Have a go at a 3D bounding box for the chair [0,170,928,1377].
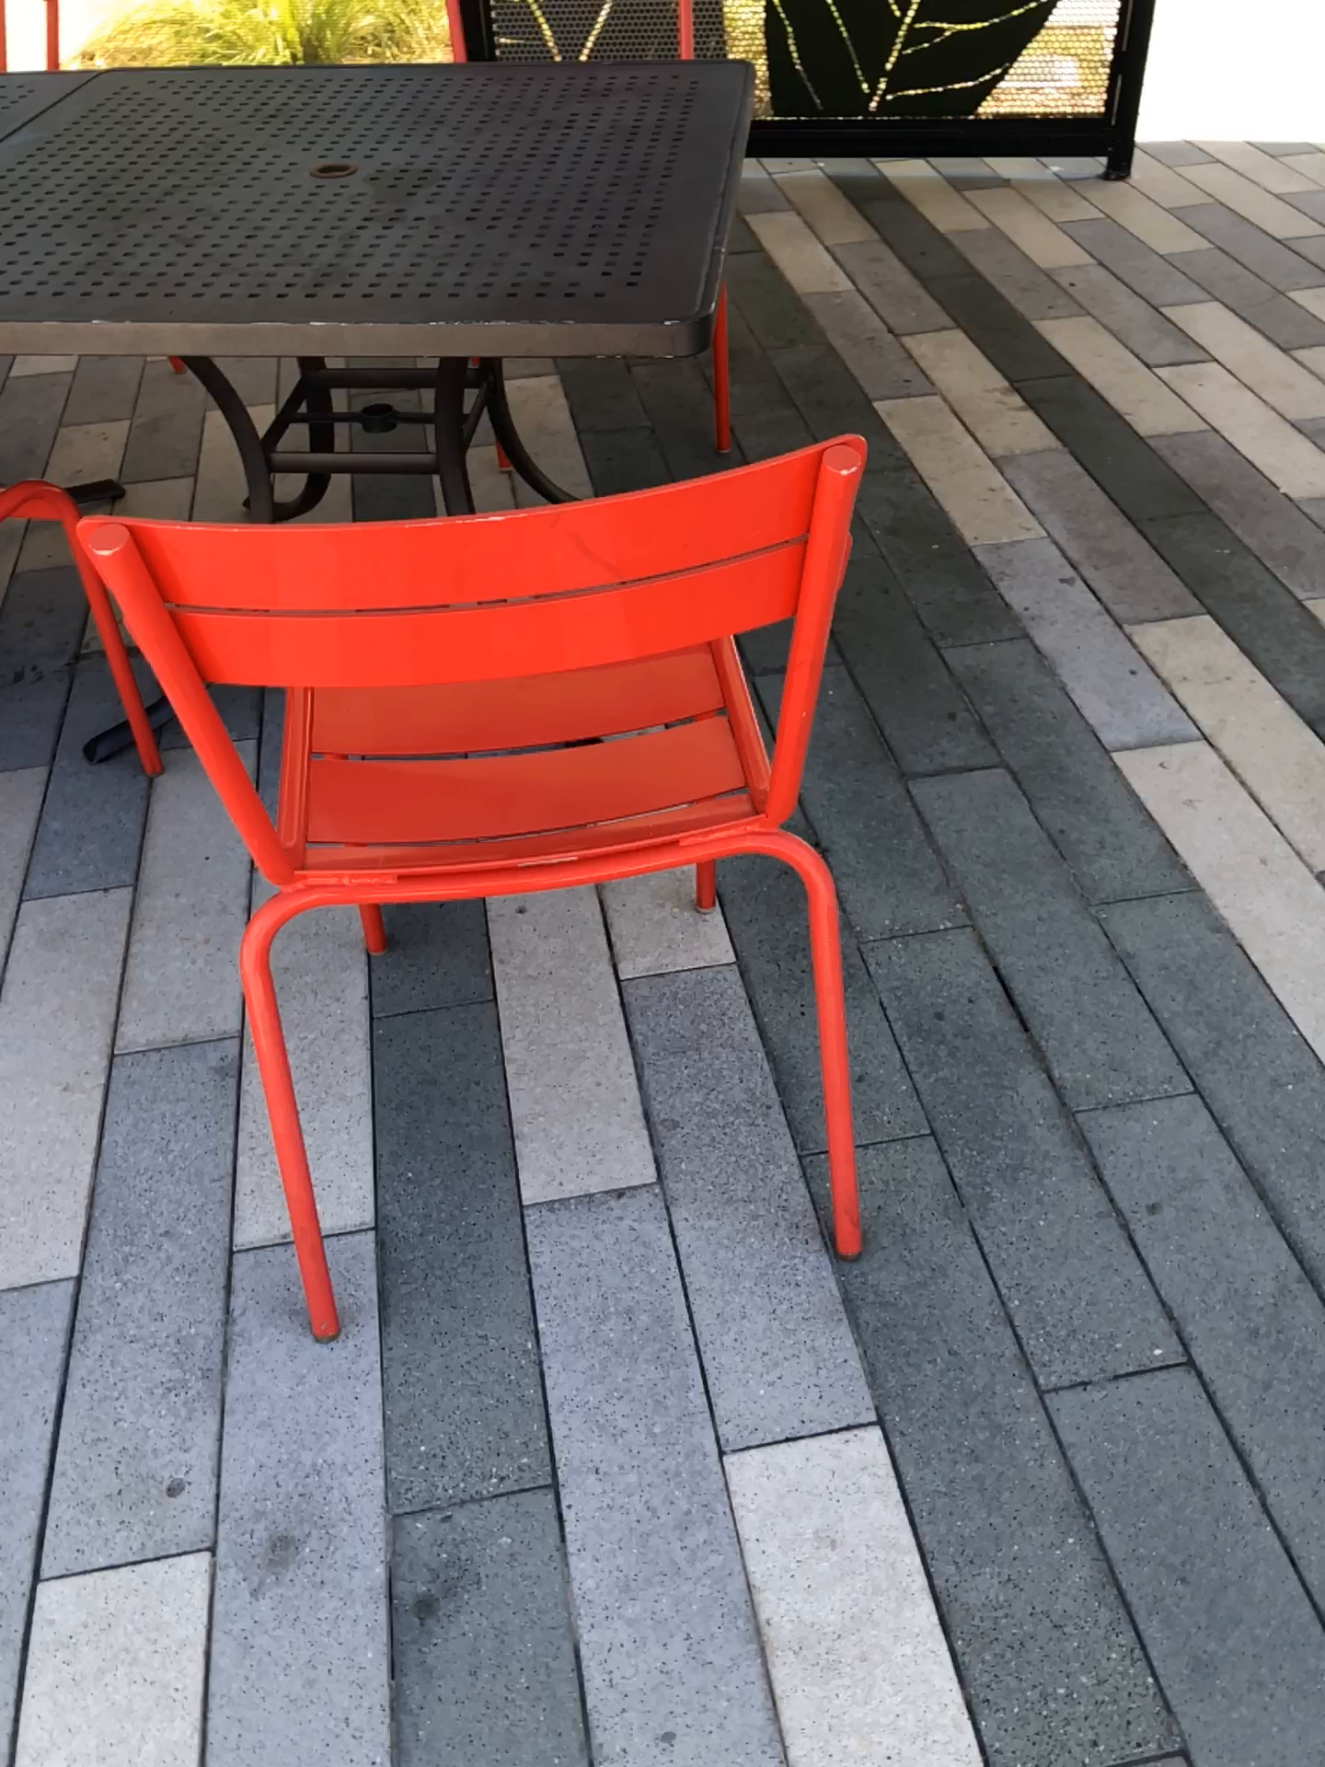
[{"bbox_3d":[-0.160,-0.092,1.478,0.610,0.955,0.633,-8,41,-6],"label":"chair"}]
